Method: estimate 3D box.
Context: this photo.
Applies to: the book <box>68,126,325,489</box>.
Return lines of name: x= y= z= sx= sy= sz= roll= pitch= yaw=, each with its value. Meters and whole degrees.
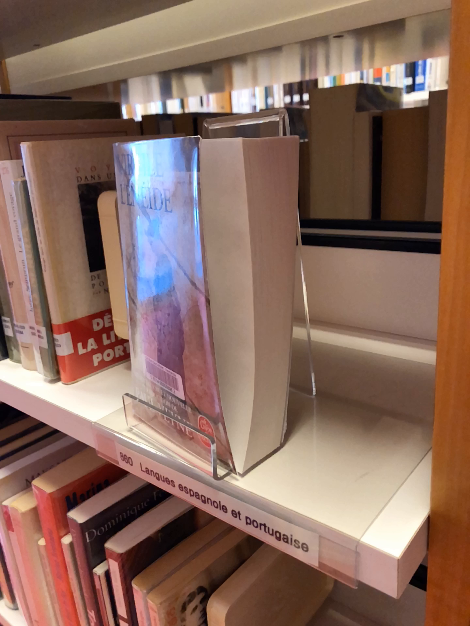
book: x=-0.024 y=-0.014 z=0.304 sx=0.074 sy=0.168 sz=0.131 roll=-16 pitch=20 yaw=-37
